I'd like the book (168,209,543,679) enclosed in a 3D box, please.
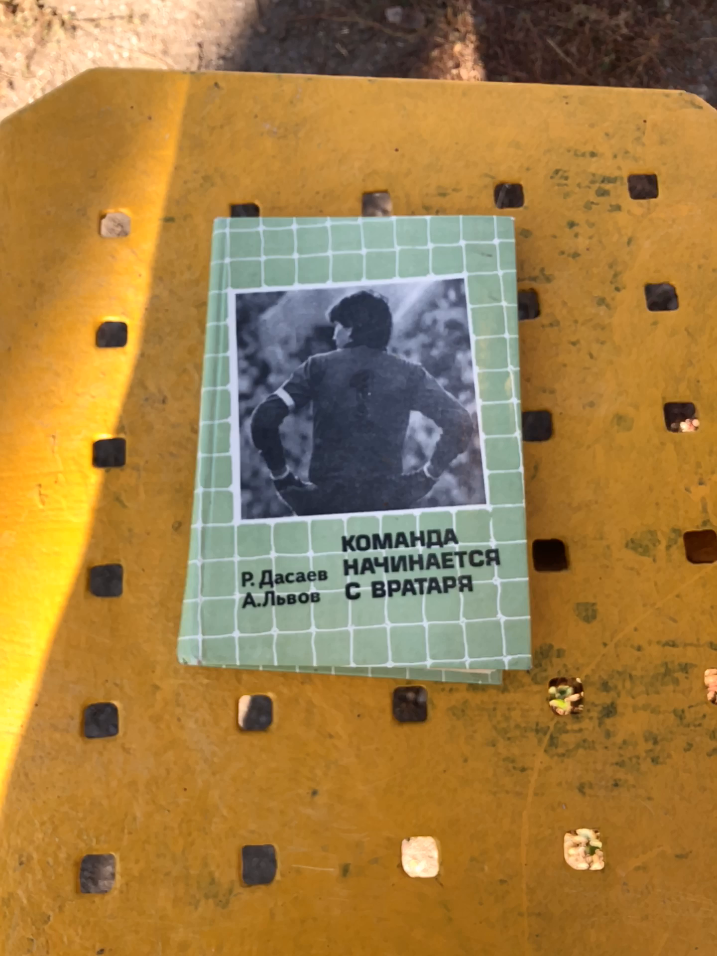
[{"bbox_3d":[0.001,-0.014,0.287,0.117,0.030,0.164,0,75,3],"label":"book"}]
